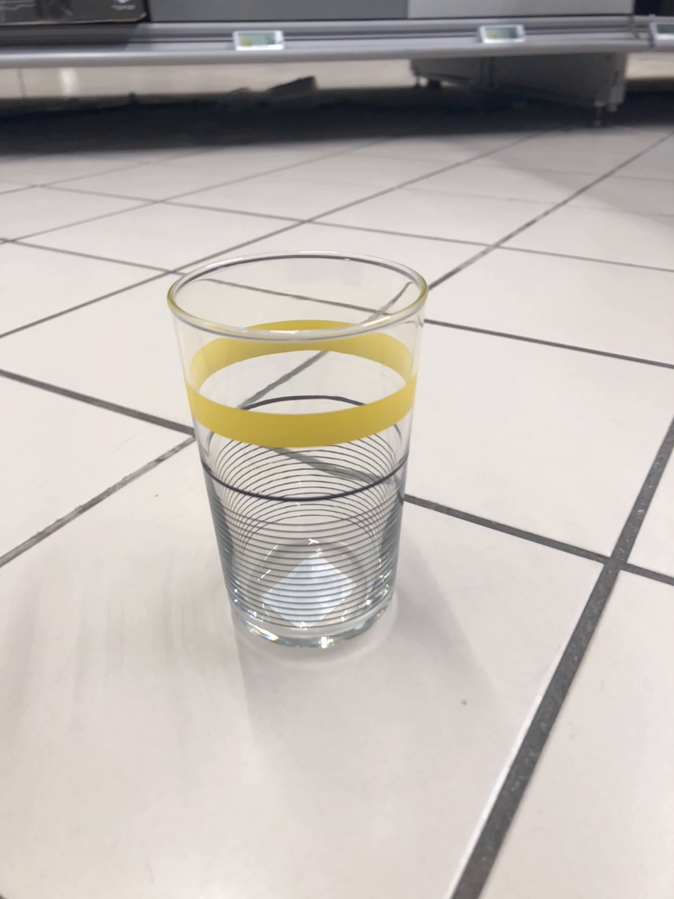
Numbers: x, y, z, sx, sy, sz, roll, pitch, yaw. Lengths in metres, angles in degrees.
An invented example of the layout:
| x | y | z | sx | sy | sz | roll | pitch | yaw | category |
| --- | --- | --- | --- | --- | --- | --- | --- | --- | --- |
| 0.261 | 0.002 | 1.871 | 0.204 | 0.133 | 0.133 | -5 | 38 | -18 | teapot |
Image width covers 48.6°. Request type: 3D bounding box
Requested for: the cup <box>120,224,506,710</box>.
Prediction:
| x | y | z | sx | sy | sz | roll | pitch | yaw | category |
| --- | --- | --- | --- | --- | --- | --- | --- | --- | --- |
| -0.006 | 0.000 | 0.239 | 0.080 | 0.114 | 0.076 | -2 | 31 | 1 | cup |
